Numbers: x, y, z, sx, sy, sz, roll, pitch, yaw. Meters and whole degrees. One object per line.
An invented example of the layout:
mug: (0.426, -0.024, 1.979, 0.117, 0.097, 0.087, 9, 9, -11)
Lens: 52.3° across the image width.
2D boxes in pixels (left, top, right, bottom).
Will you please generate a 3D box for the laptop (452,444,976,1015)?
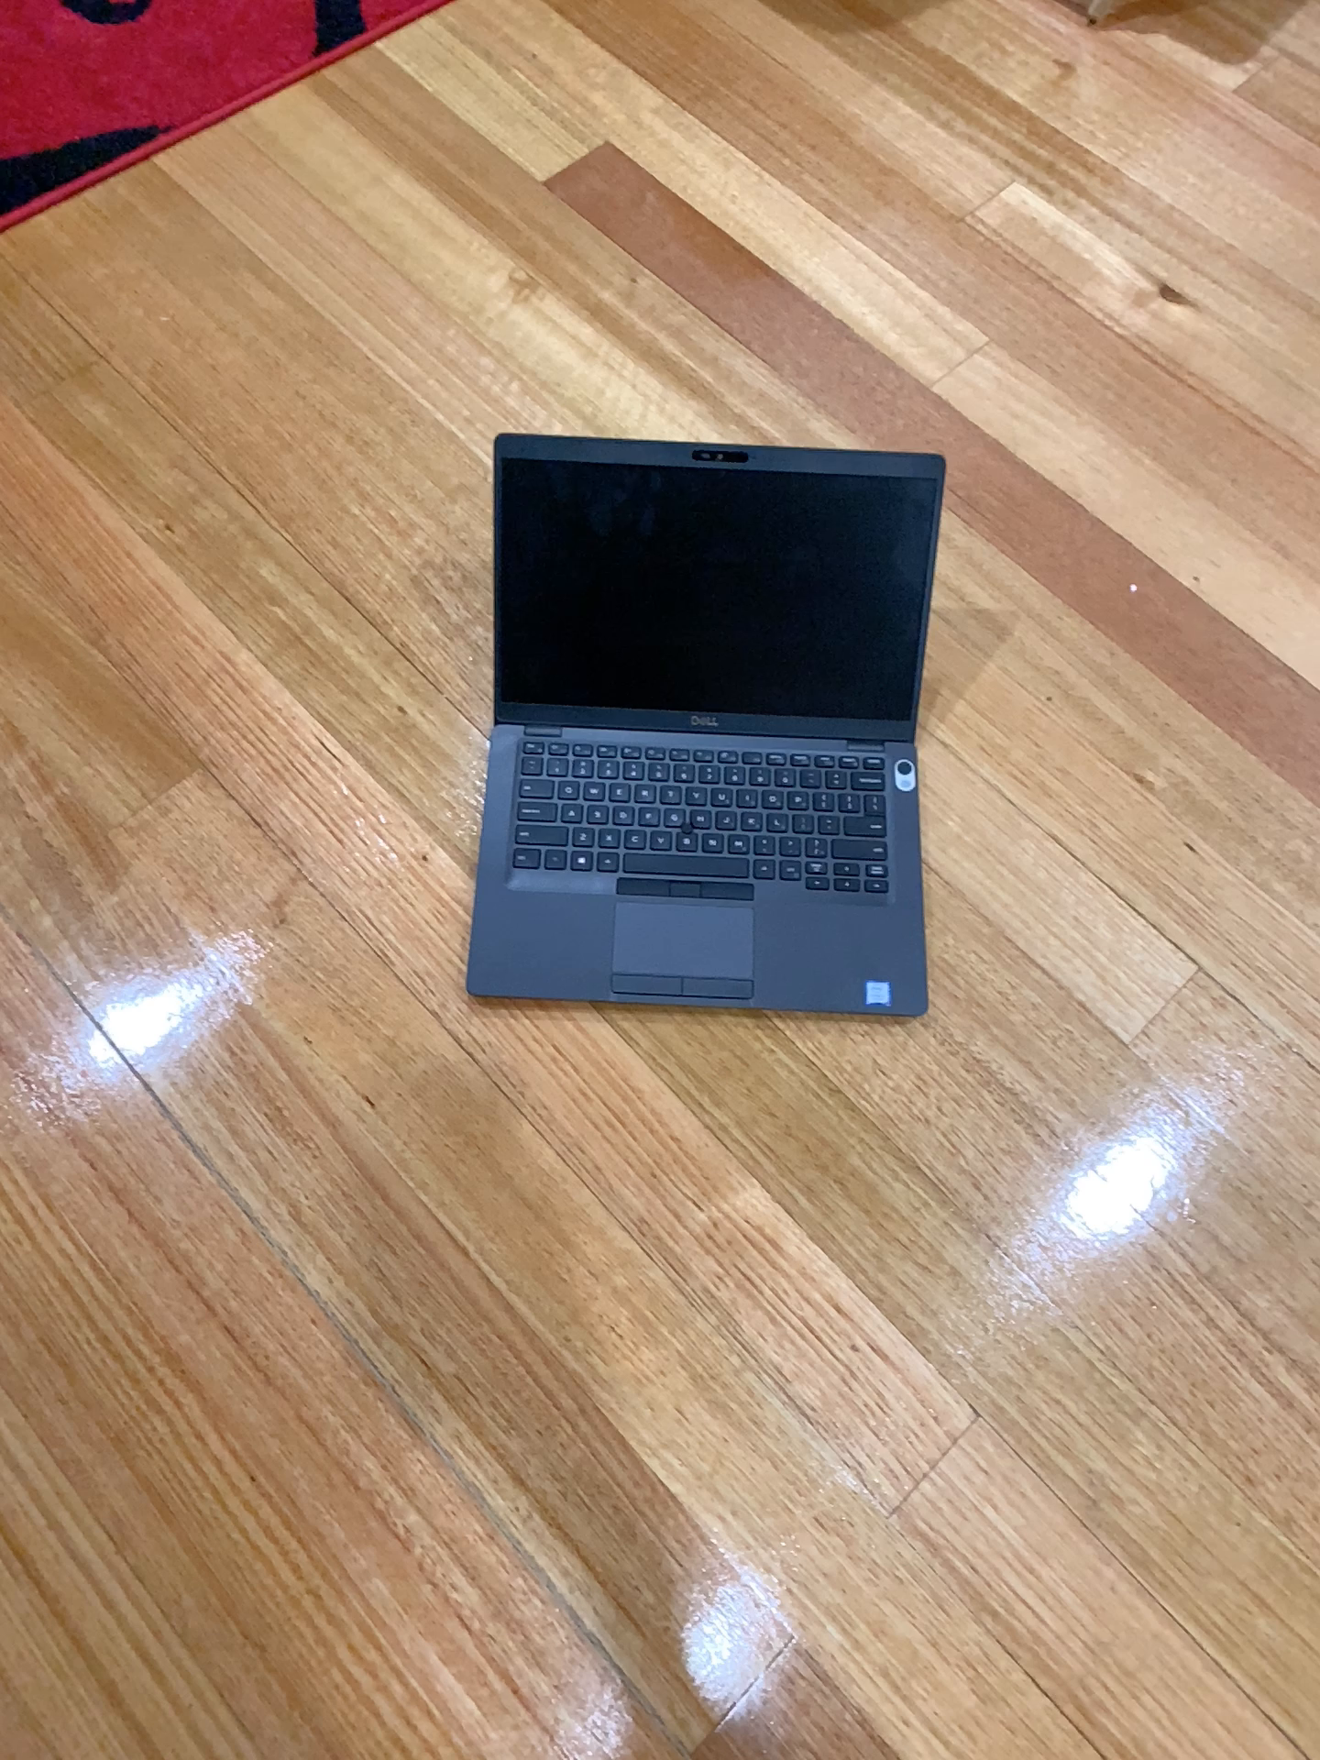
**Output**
laptop: (0.041, -0.110, 0.957, 0.320, 0.134, 0.372, 3, 66, -1)
